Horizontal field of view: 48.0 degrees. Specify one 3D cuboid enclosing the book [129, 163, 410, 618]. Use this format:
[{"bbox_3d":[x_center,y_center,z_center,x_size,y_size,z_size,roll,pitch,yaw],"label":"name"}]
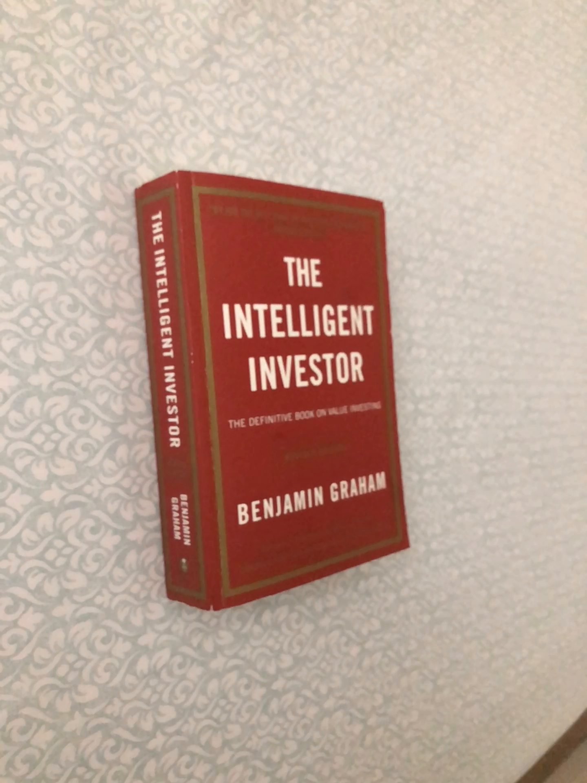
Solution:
[{"bbox_3d":[-0.007,-0.004,0.349,0.131,0.050,0.200,-6,93,-39],"label":"book"}]
